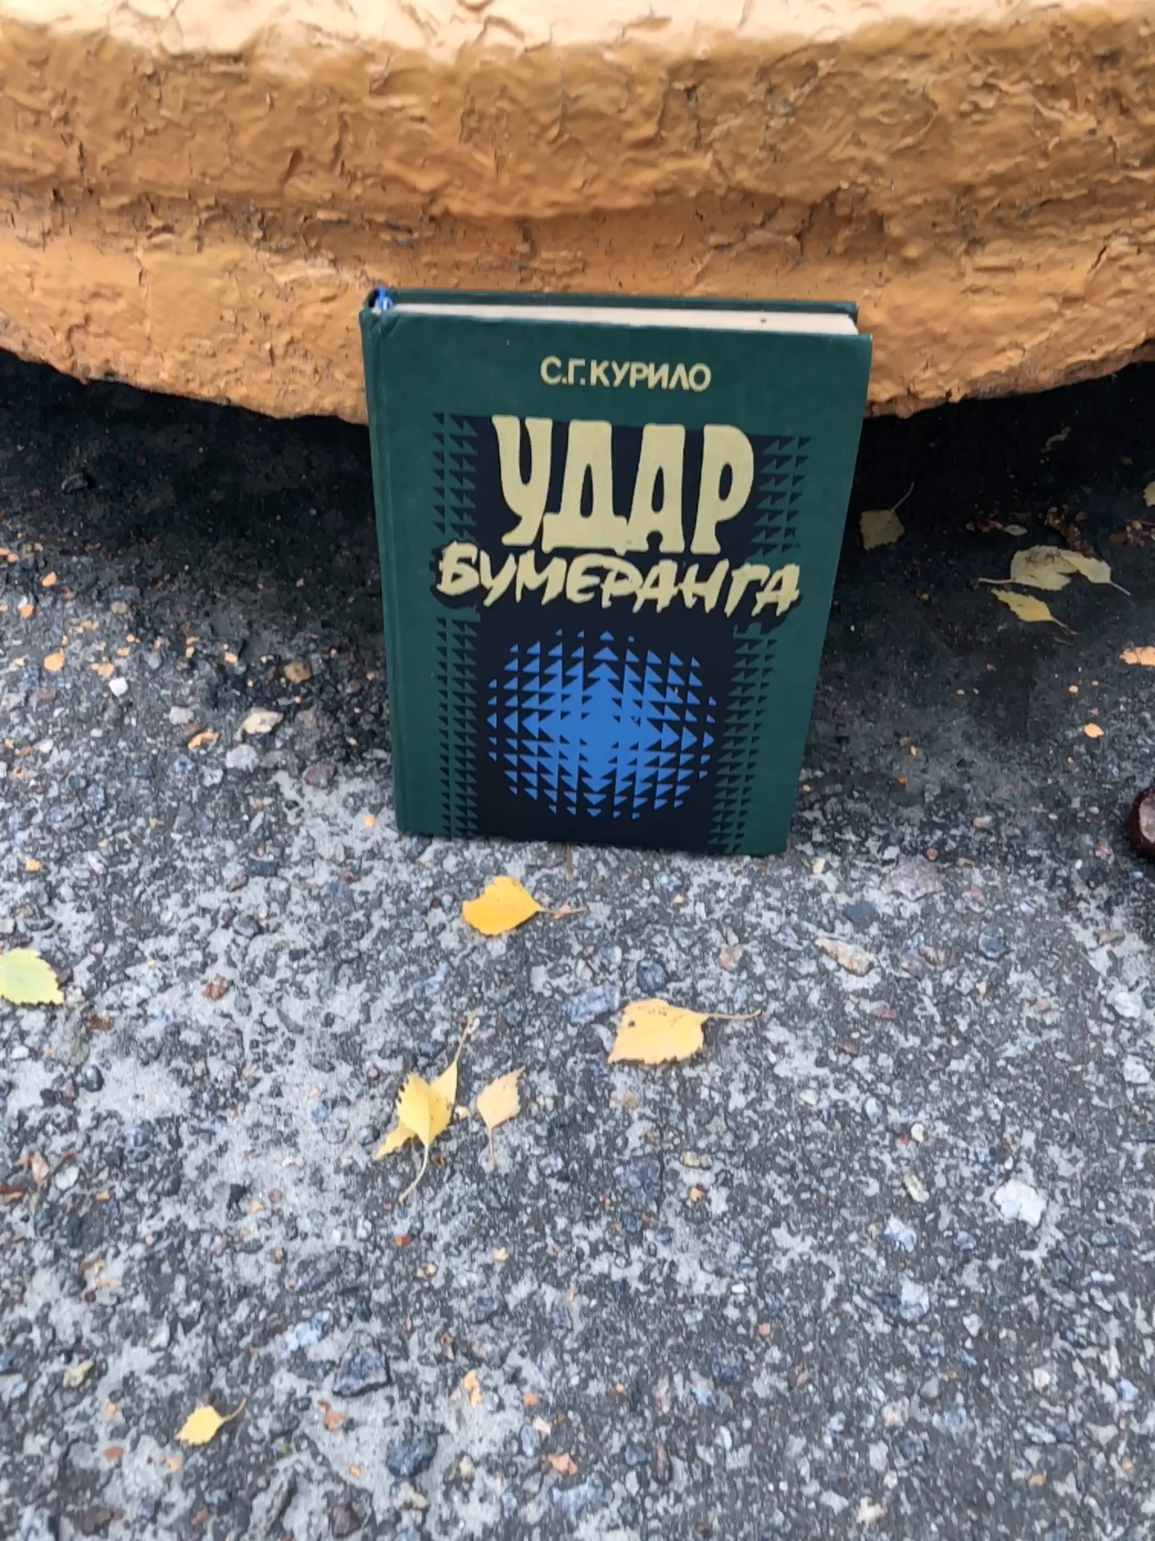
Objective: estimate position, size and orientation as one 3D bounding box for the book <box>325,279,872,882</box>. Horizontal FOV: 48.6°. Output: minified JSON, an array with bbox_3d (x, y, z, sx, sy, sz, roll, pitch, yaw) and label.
[{"bbox_3d":[0.007,-0.046,0.372,0.131,0.178,0.029,4,41,7],"label":"book"}]
